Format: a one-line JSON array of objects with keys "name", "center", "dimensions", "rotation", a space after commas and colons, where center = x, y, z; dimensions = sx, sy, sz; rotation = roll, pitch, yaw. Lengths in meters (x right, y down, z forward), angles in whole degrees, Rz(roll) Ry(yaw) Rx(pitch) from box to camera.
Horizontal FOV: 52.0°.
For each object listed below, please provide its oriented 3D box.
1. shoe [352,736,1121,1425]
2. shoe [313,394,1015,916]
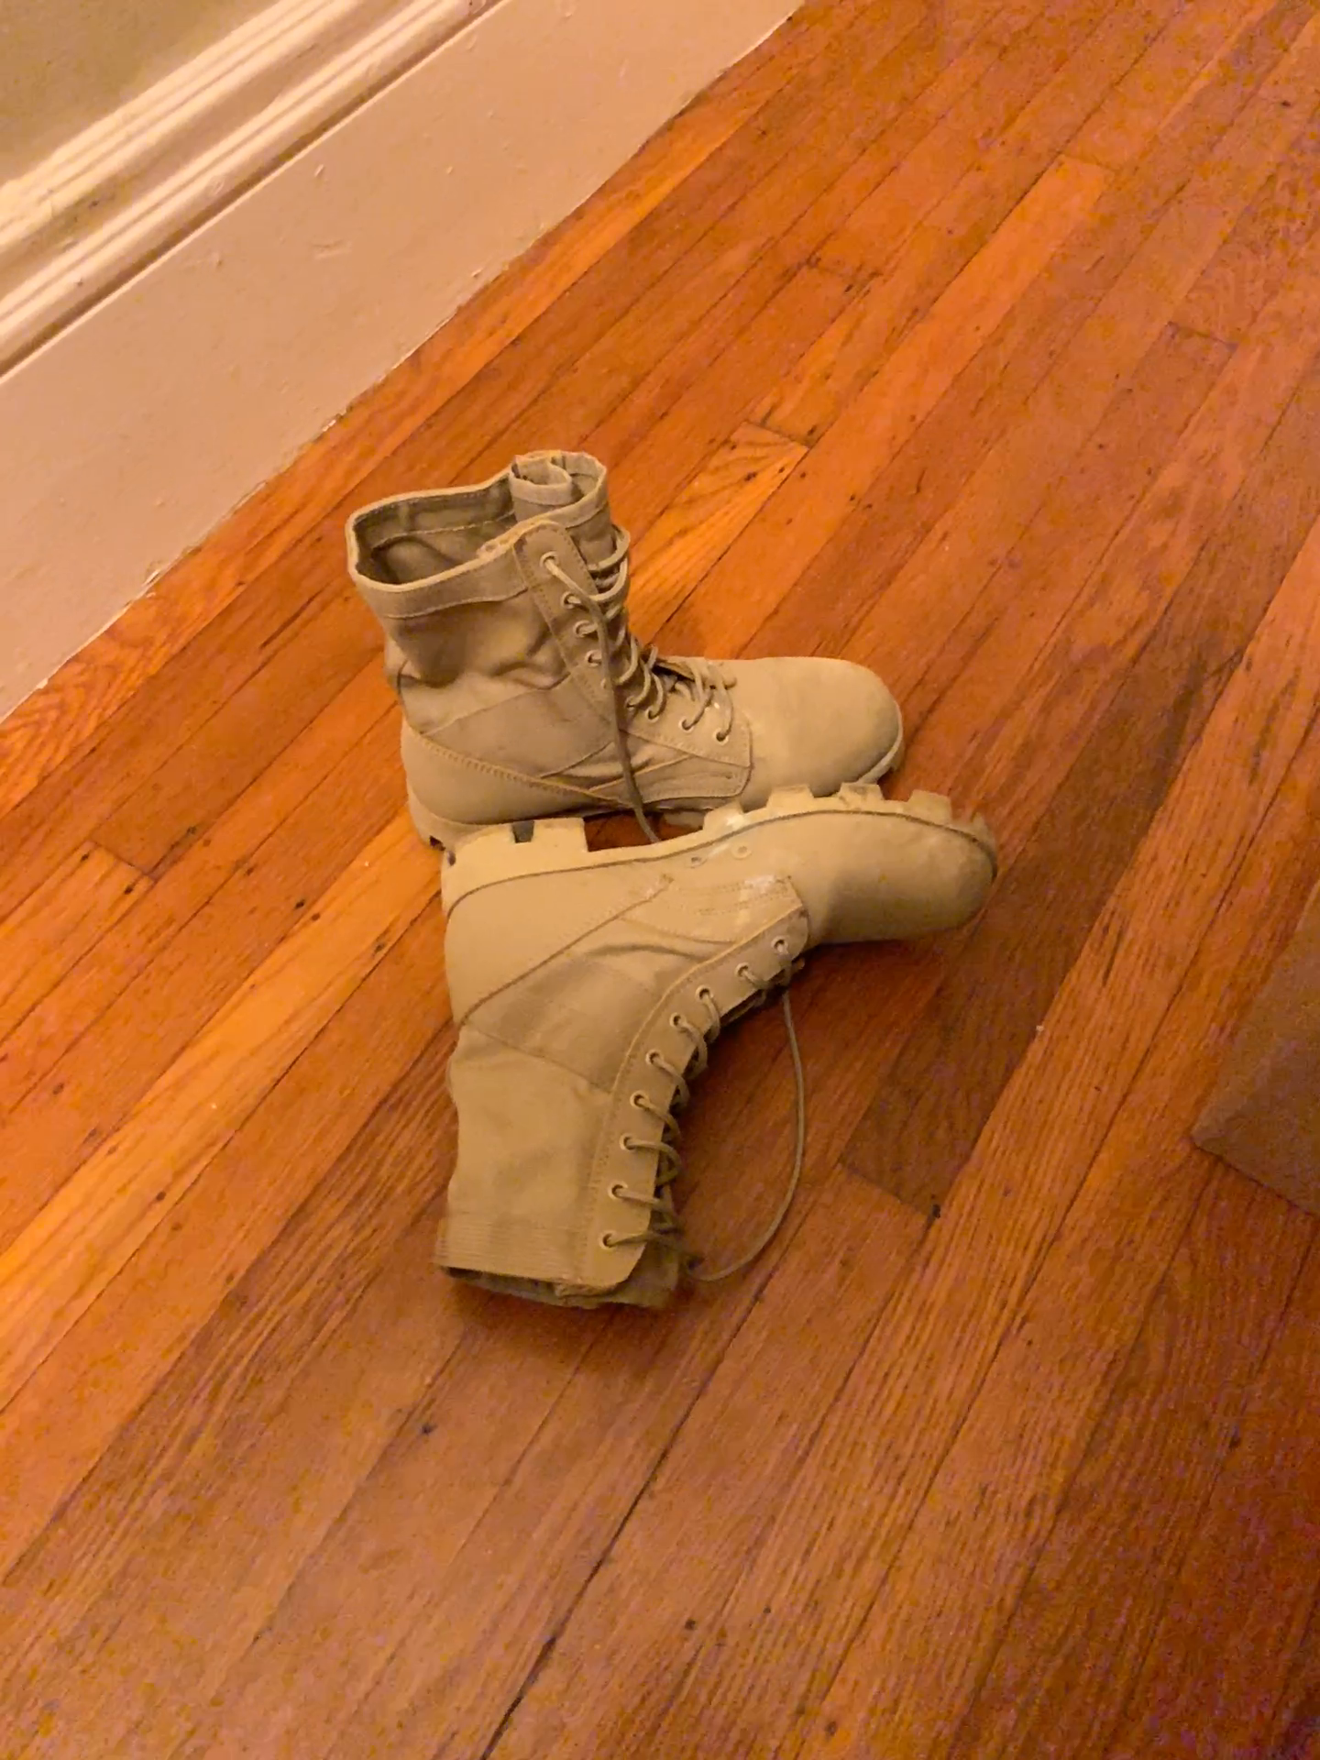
[{"name": "shoe", "center": [0.019, 0.090, 0.625], "dimensions": [0.290, 0.110, 0.261], "rotation": [-7, 66, -3]}, {"name": "shoe", "center": [-0.002, -0.103, 0.675], "dimensions": [0.290, 0.199, 0.120], "rotation": [-8, 60, -4]}]
